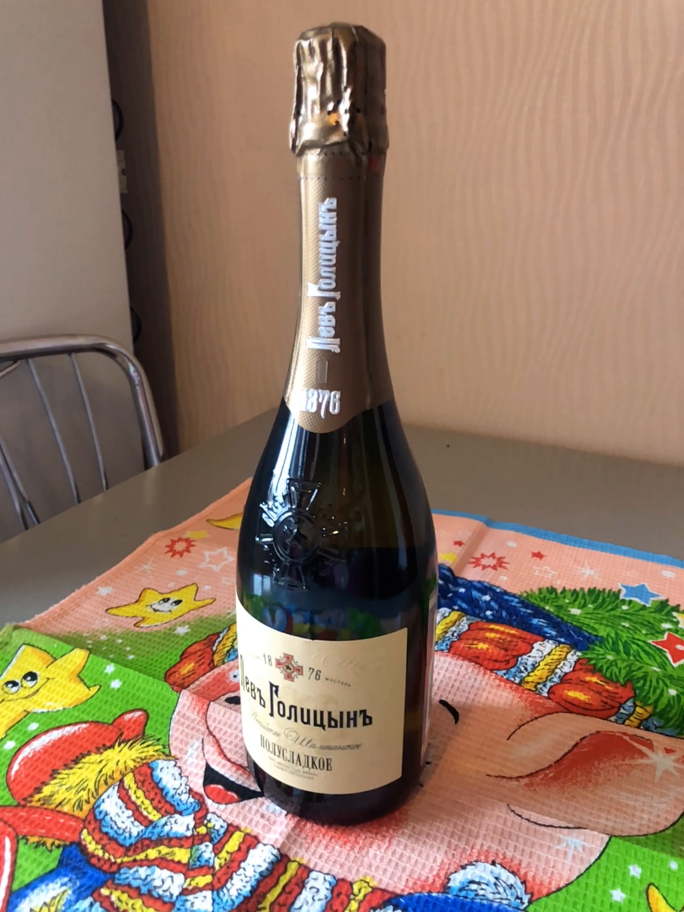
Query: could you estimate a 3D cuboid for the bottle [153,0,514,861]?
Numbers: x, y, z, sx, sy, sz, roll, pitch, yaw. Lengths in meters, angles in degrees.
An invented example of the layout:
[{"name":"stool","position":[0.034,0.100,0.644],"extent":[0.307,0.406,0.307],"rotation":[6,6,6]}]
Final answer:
[{"name":"bottle","position":[0.001,-0.004,0.310],"extent":[0.090,0.309,0.093],"rotation":[0,20,0]}]
